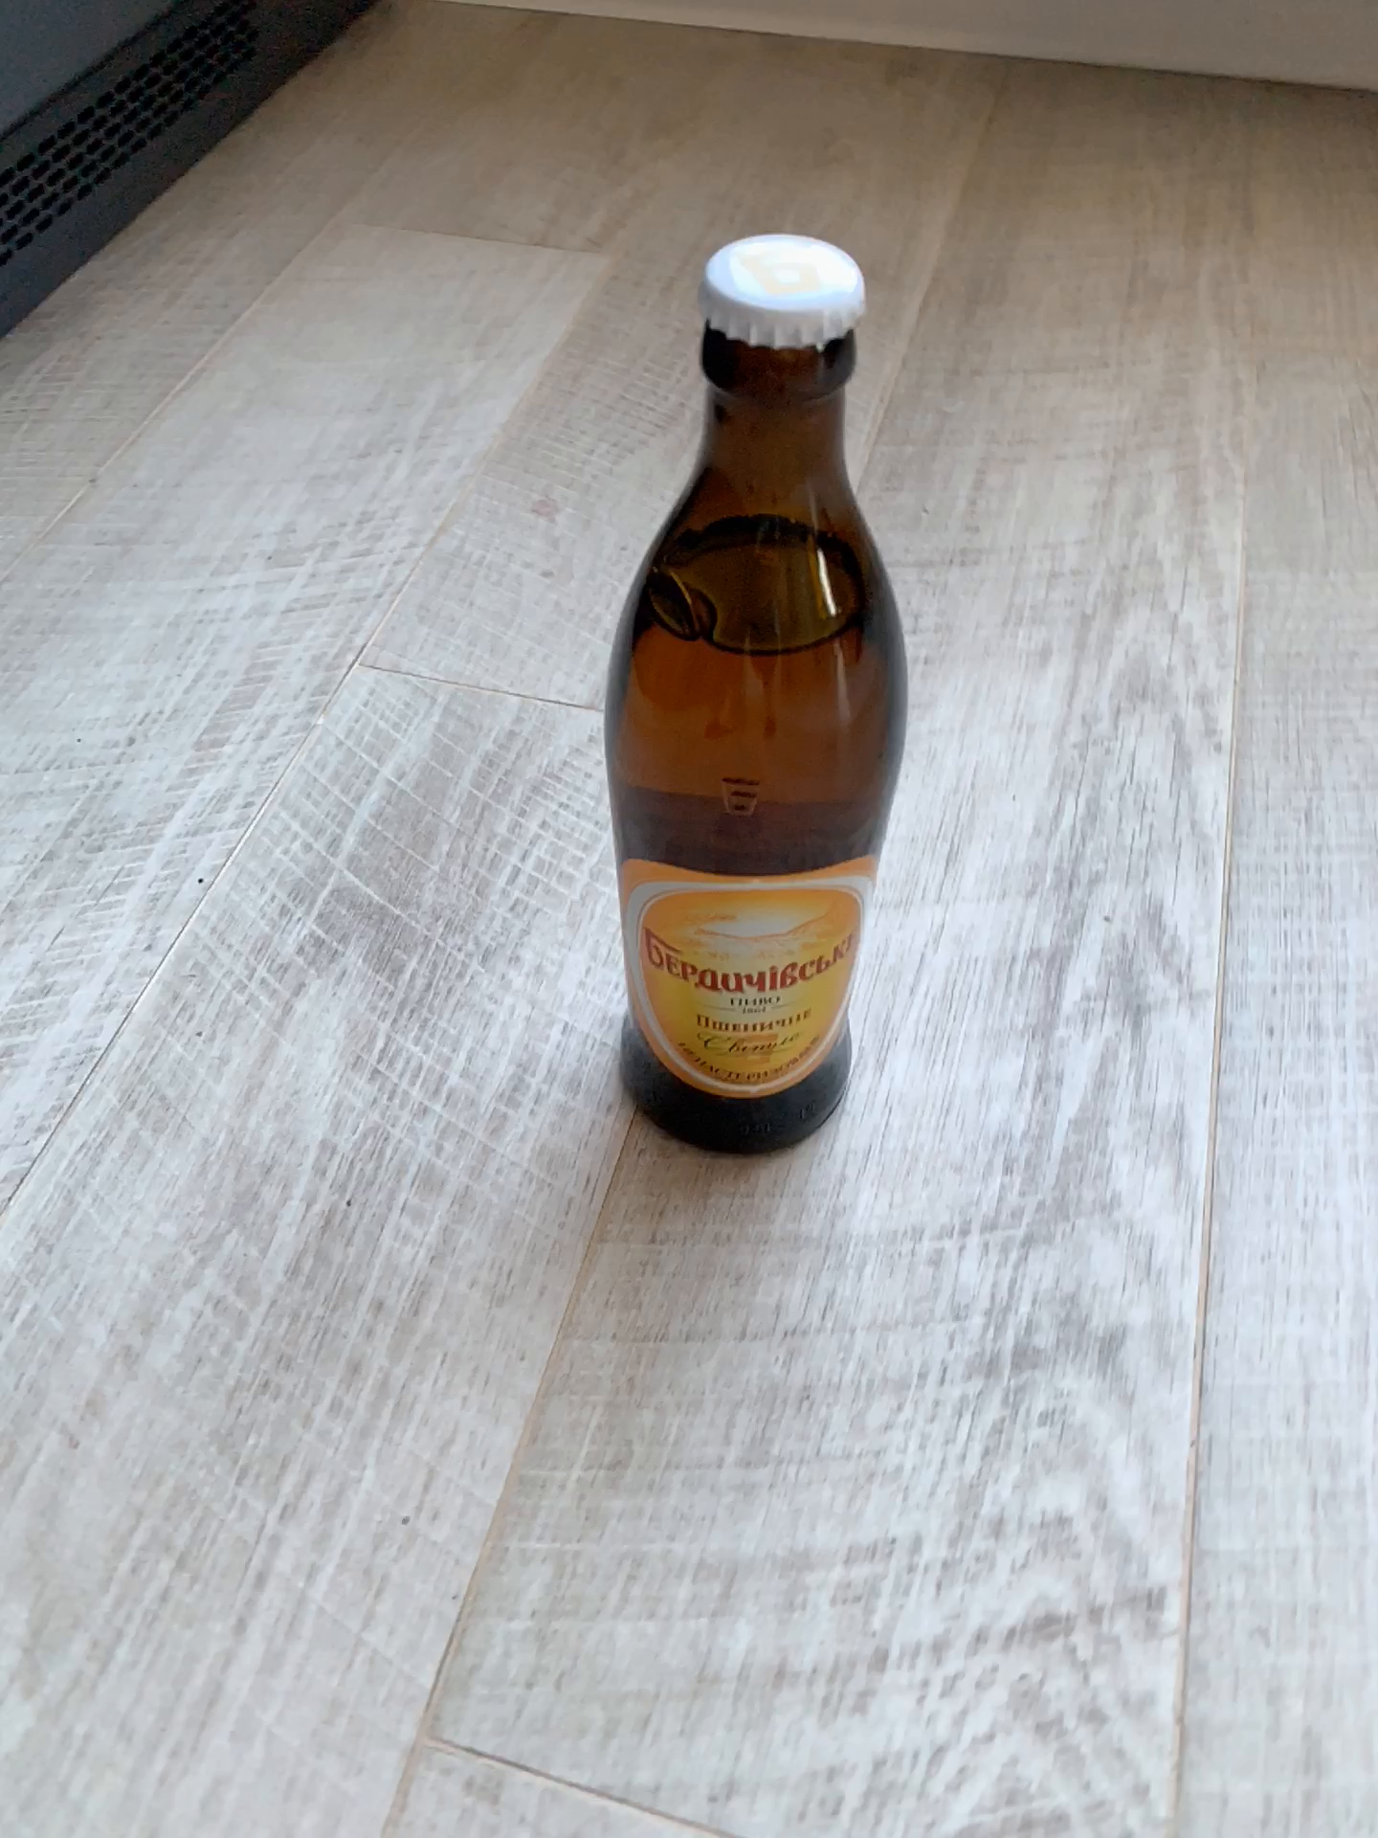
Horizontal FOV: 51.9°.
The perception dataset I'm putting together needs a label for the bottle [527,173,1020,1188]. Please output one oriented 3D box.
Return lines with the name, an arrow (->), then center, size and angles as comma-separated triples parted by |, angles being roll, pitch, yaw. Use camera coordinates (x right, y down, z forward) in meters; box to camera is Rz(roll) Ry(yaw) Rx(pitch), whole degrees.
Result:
bottle -> 0.015, -0.029, 0.312 | 0.070, 0.229, 0.070 | 0, 51, 0
